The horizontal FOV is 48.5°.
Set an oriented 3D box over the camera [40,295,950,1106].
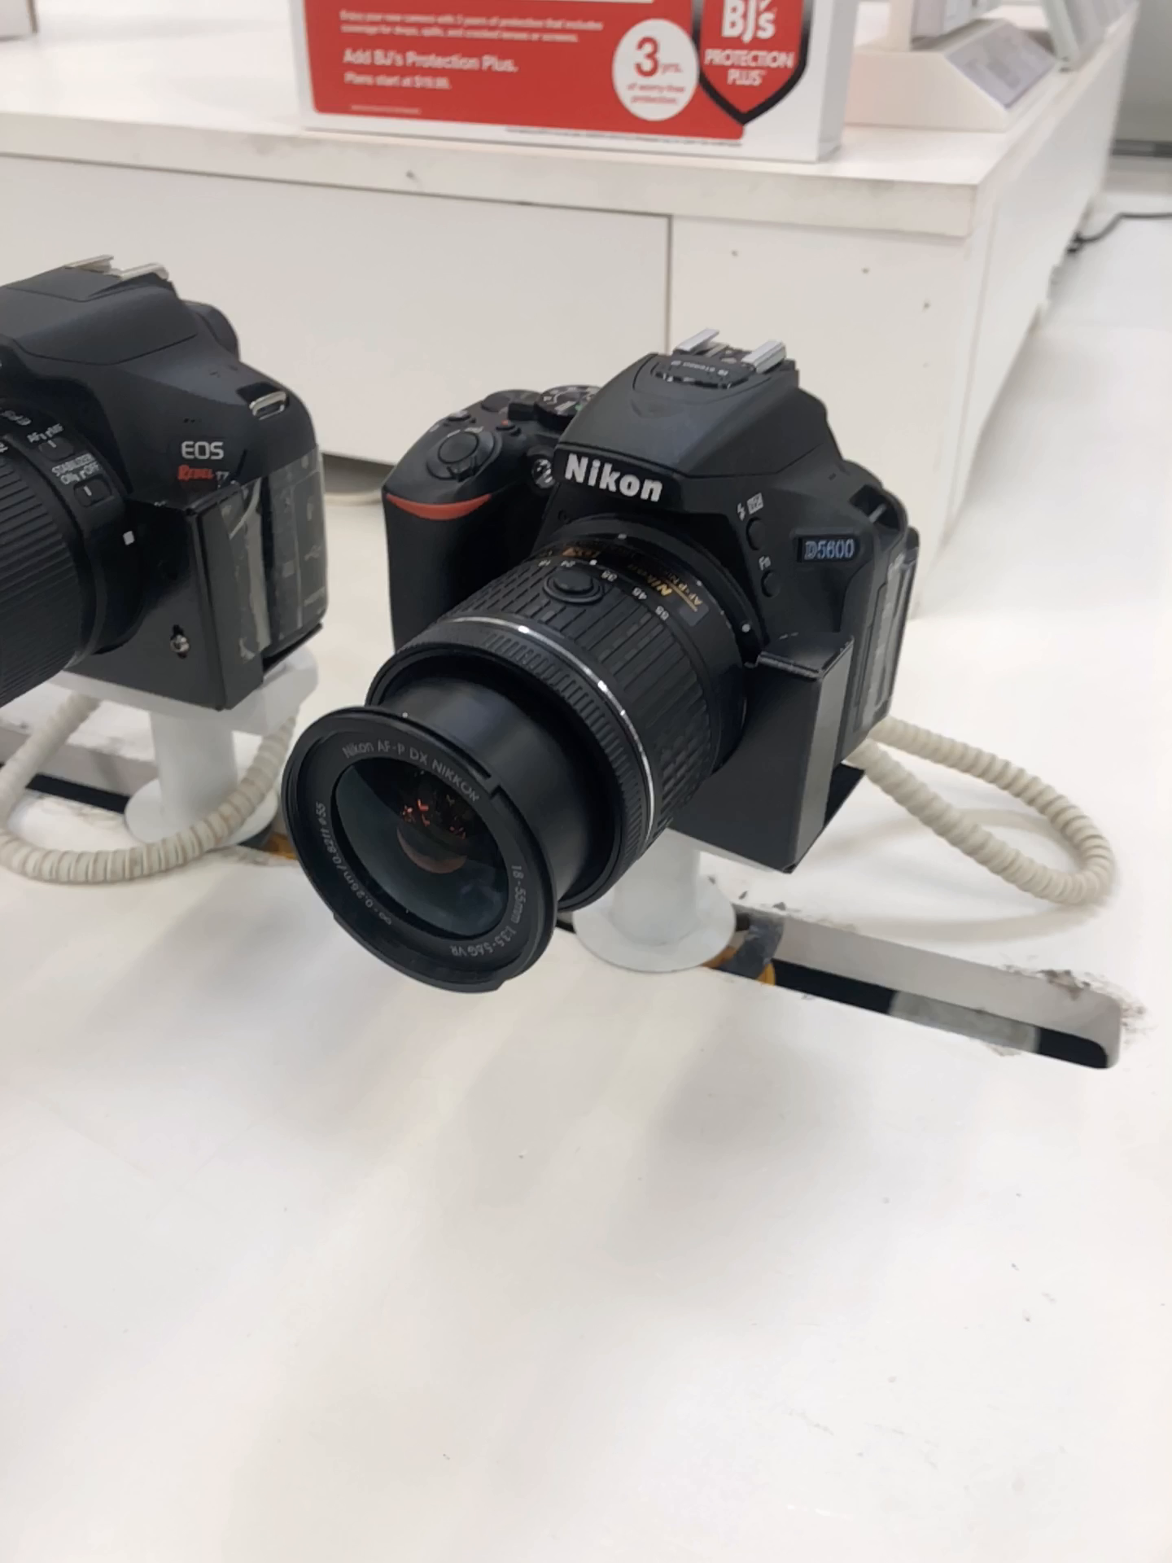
[{"bbox_3d":[-0.006,-0.034,0.279,0.120,0.089,0.151,16,37,20],"label":"camera"}]
